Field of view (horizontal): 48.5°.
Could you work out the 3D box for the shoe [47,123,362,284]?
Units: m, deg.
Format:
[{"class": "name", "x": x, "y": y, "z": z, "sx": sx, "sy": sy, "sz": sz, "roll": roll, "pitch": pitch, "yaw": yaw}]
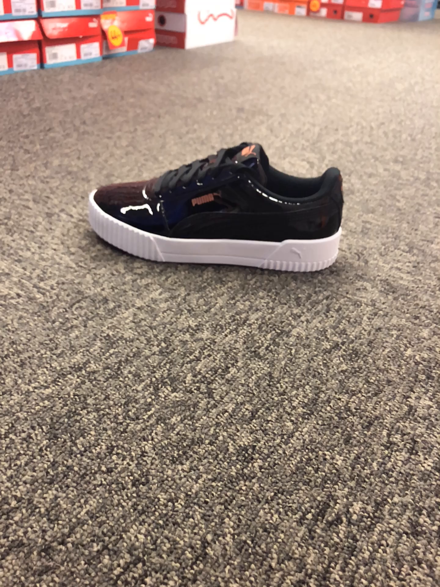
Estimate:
[{"class": "shoe", "x": -0.010, "y": -0.091, "z": 0.464, "sx": 0.260, "sy": 0.099, "sz": 0.101, "roll": 6, "pitch": 34, "yaw": 8}]
